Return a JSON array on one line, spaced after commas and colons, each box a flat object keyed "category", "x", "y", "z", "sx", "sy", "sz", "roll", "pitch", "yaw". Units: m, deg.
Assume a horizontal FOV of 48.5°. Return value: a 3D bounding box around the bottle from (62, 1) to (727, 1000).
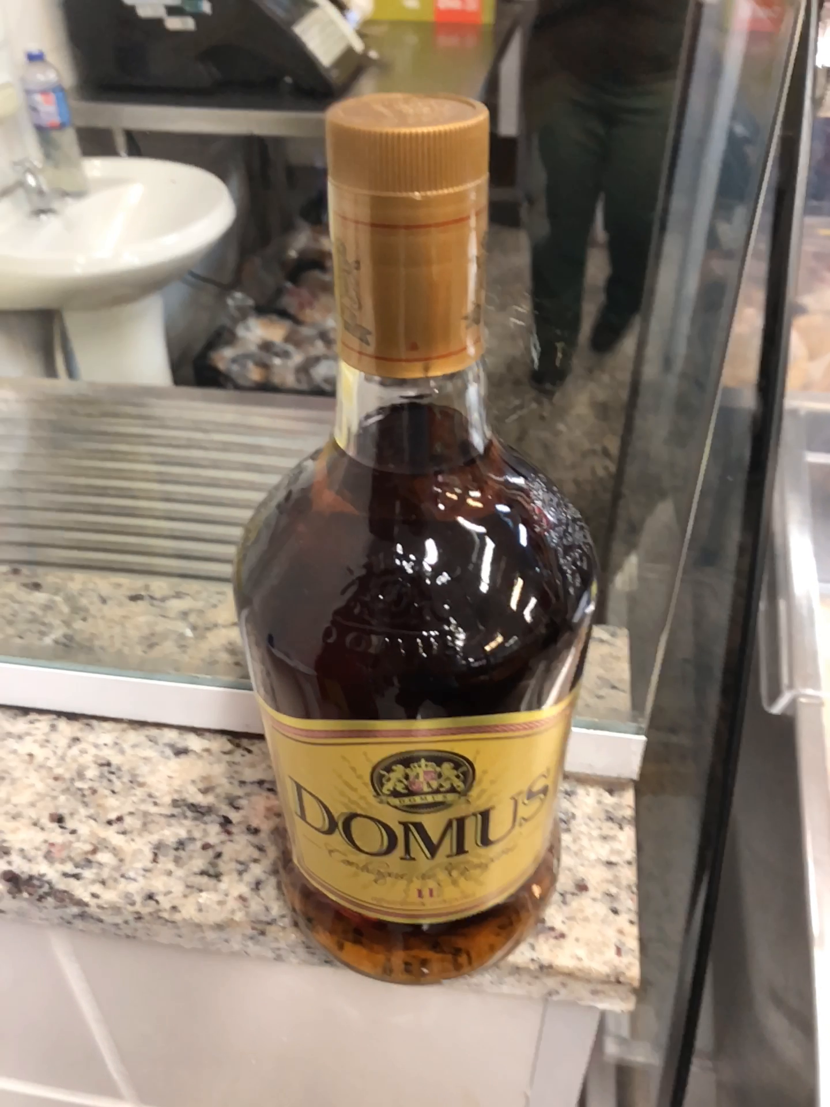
[{"category": "bottle", "x": -0.006, "y": 0.003, "z": 0.261, "sx": 0.100, "sy": 0.258, "sz": 0.111, "roll": -4, "pitch": 38, "yaw": -4}]
